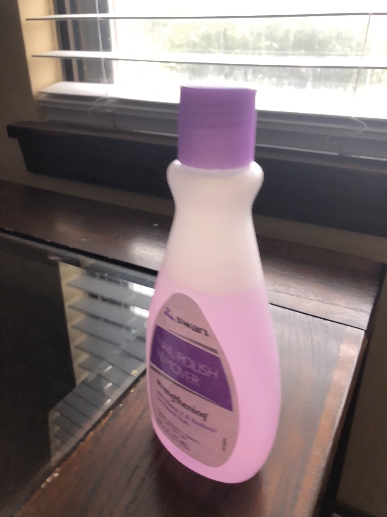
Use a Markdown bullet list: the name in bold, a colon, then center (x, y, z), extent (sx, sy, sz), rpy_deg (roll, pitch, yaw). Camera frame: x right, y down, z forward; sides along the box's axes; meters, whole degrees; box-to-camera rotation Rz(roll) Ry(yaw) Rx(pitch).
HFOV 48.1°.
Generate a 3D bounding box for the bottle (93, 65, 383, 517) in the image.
- **bottle**: center (0.012, 0.015, 0.179), extent (0.080, 0.170, 0.050), rpy_deg (22, 34, 37)
